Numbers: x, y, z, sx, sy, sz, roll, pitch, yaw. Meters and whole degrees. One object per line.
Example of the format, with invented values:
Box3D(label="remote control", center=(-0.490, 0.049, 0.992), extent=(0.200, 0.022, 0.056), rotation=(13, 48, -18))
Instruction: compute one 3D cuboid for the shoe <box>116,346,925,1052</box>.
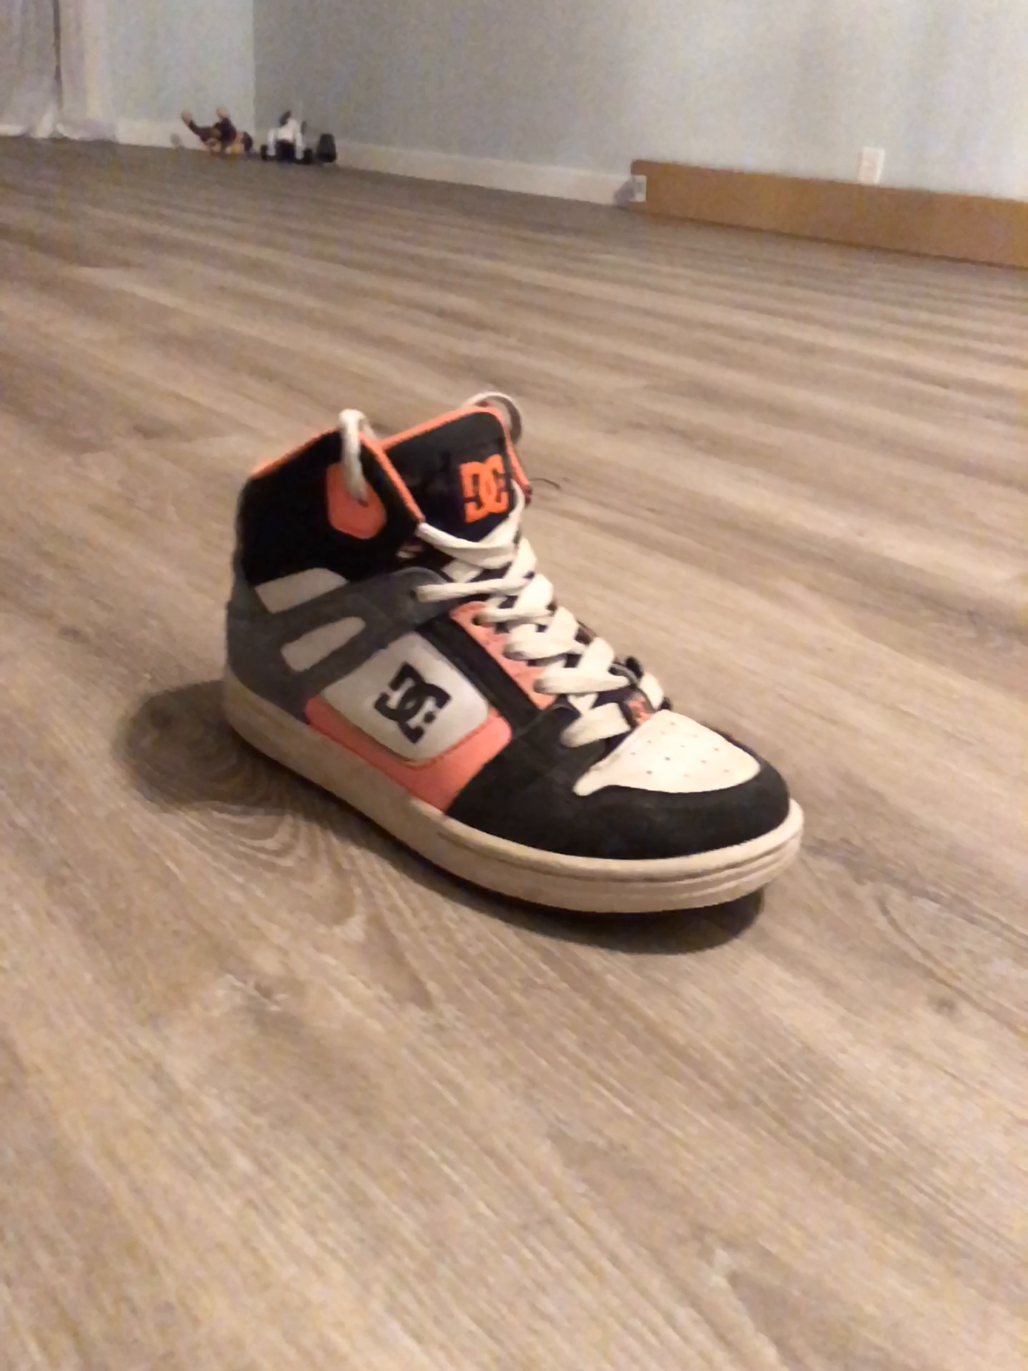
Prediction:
Box3D(label="shoe", center=(-0.014, -0.016, 0.374), extent=(0.240, 0.139, 0.090), rotation=(22, 30, 31))
